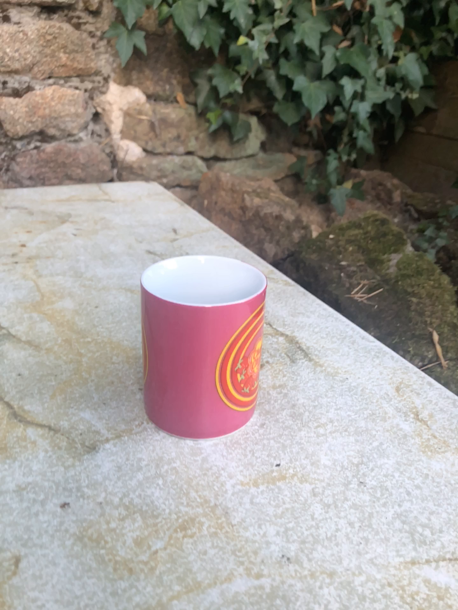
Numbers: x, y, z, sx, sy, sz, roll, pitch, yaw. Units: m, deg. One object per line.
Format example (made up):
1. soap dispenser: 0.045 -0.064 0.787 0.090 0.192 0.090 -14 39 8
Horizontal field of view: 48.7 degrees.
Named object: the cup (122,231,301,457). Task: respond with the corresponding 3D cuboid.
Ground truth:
1. cup: -0.006 0.017 0.331 0.076 0.089 0.116 10 28 14
